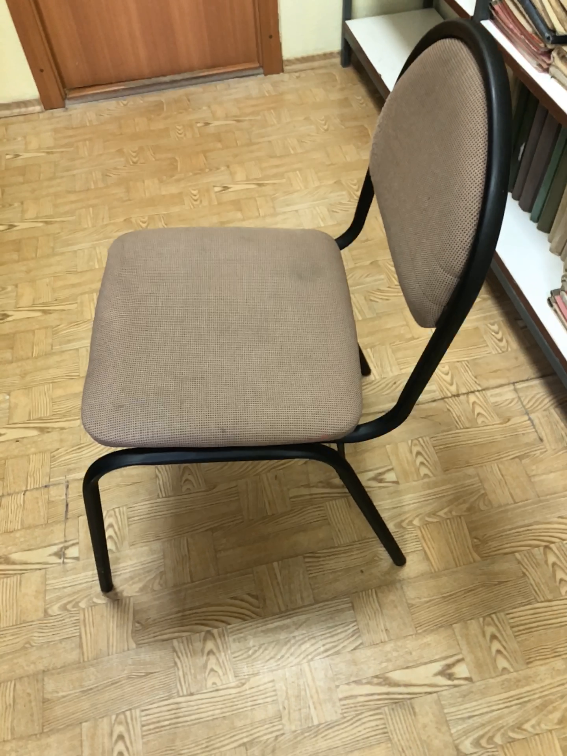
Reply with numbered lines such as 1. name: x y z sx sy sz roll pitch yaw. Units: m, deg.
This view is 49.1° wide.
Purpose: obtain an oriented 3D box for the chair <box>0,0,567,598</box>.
1. chair: -0.070 -0.076 0.894 0.573 0.768 0.481 -5 52 0
